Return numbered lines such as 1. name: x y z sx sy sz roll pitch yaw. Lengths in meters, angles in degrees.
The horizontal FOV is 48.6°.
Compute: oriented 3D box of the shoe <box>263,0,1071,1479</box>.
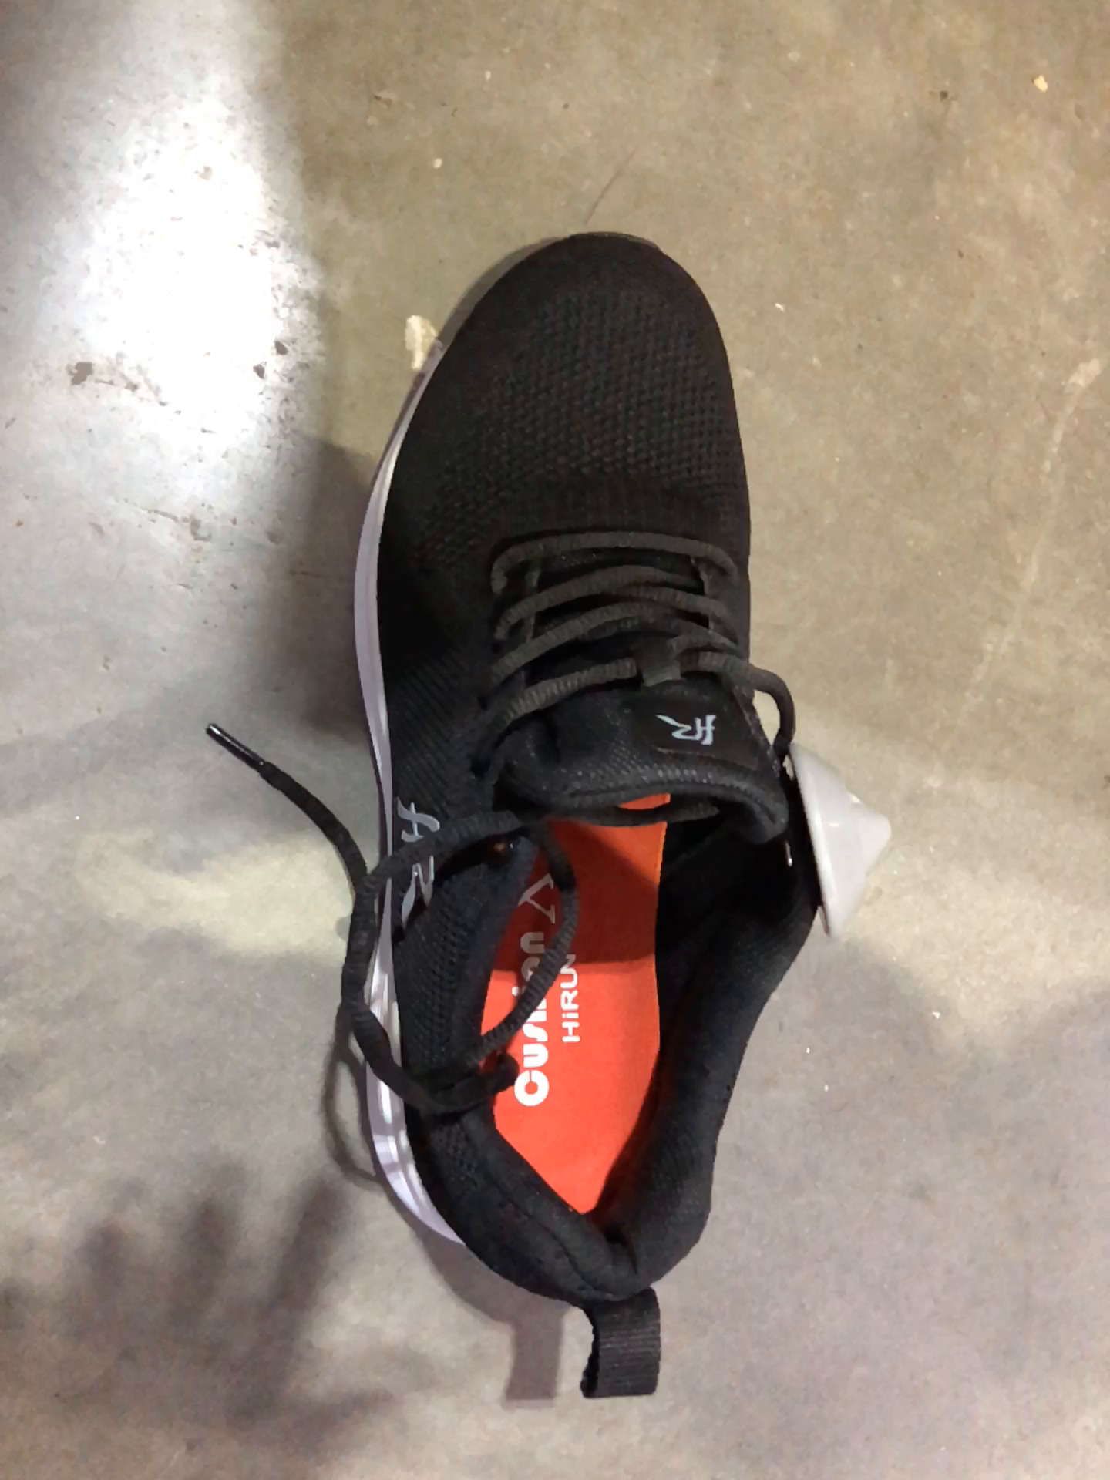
1. shoe: 0.016 -0.001 0.279 0.130 0.120 0.280 6 84 -12
